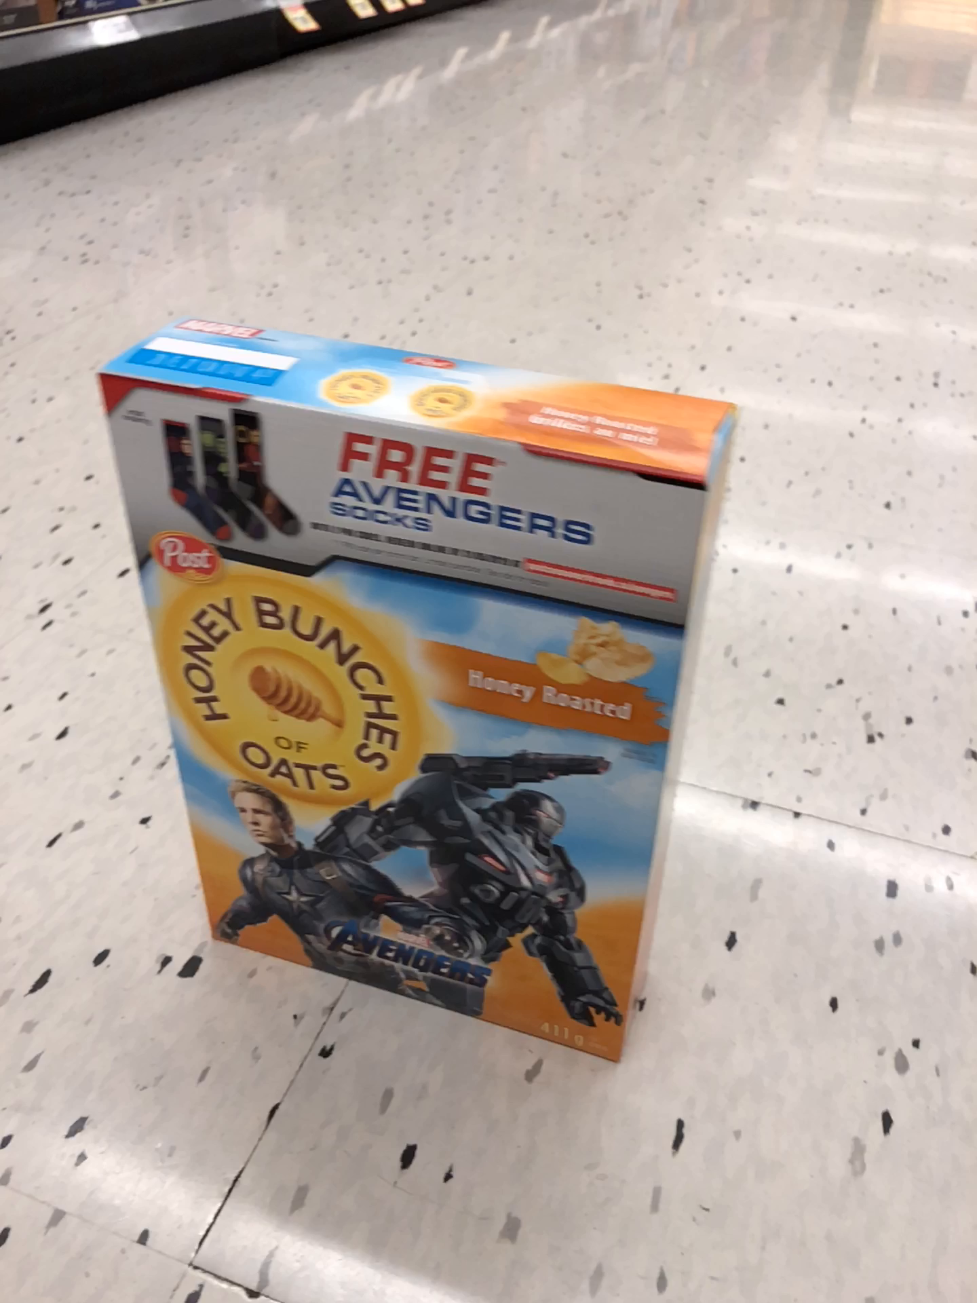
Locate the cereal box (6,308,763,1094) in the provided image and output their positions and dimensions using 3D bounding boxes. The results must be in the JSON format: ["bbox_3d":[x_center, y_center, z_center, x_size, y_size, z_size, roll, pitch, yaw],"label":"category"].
[{"bbox_3d":[-0.034,0.028,0.388,0.210,0.258,0.060,12,38,14],"label":"cereal box"}]
